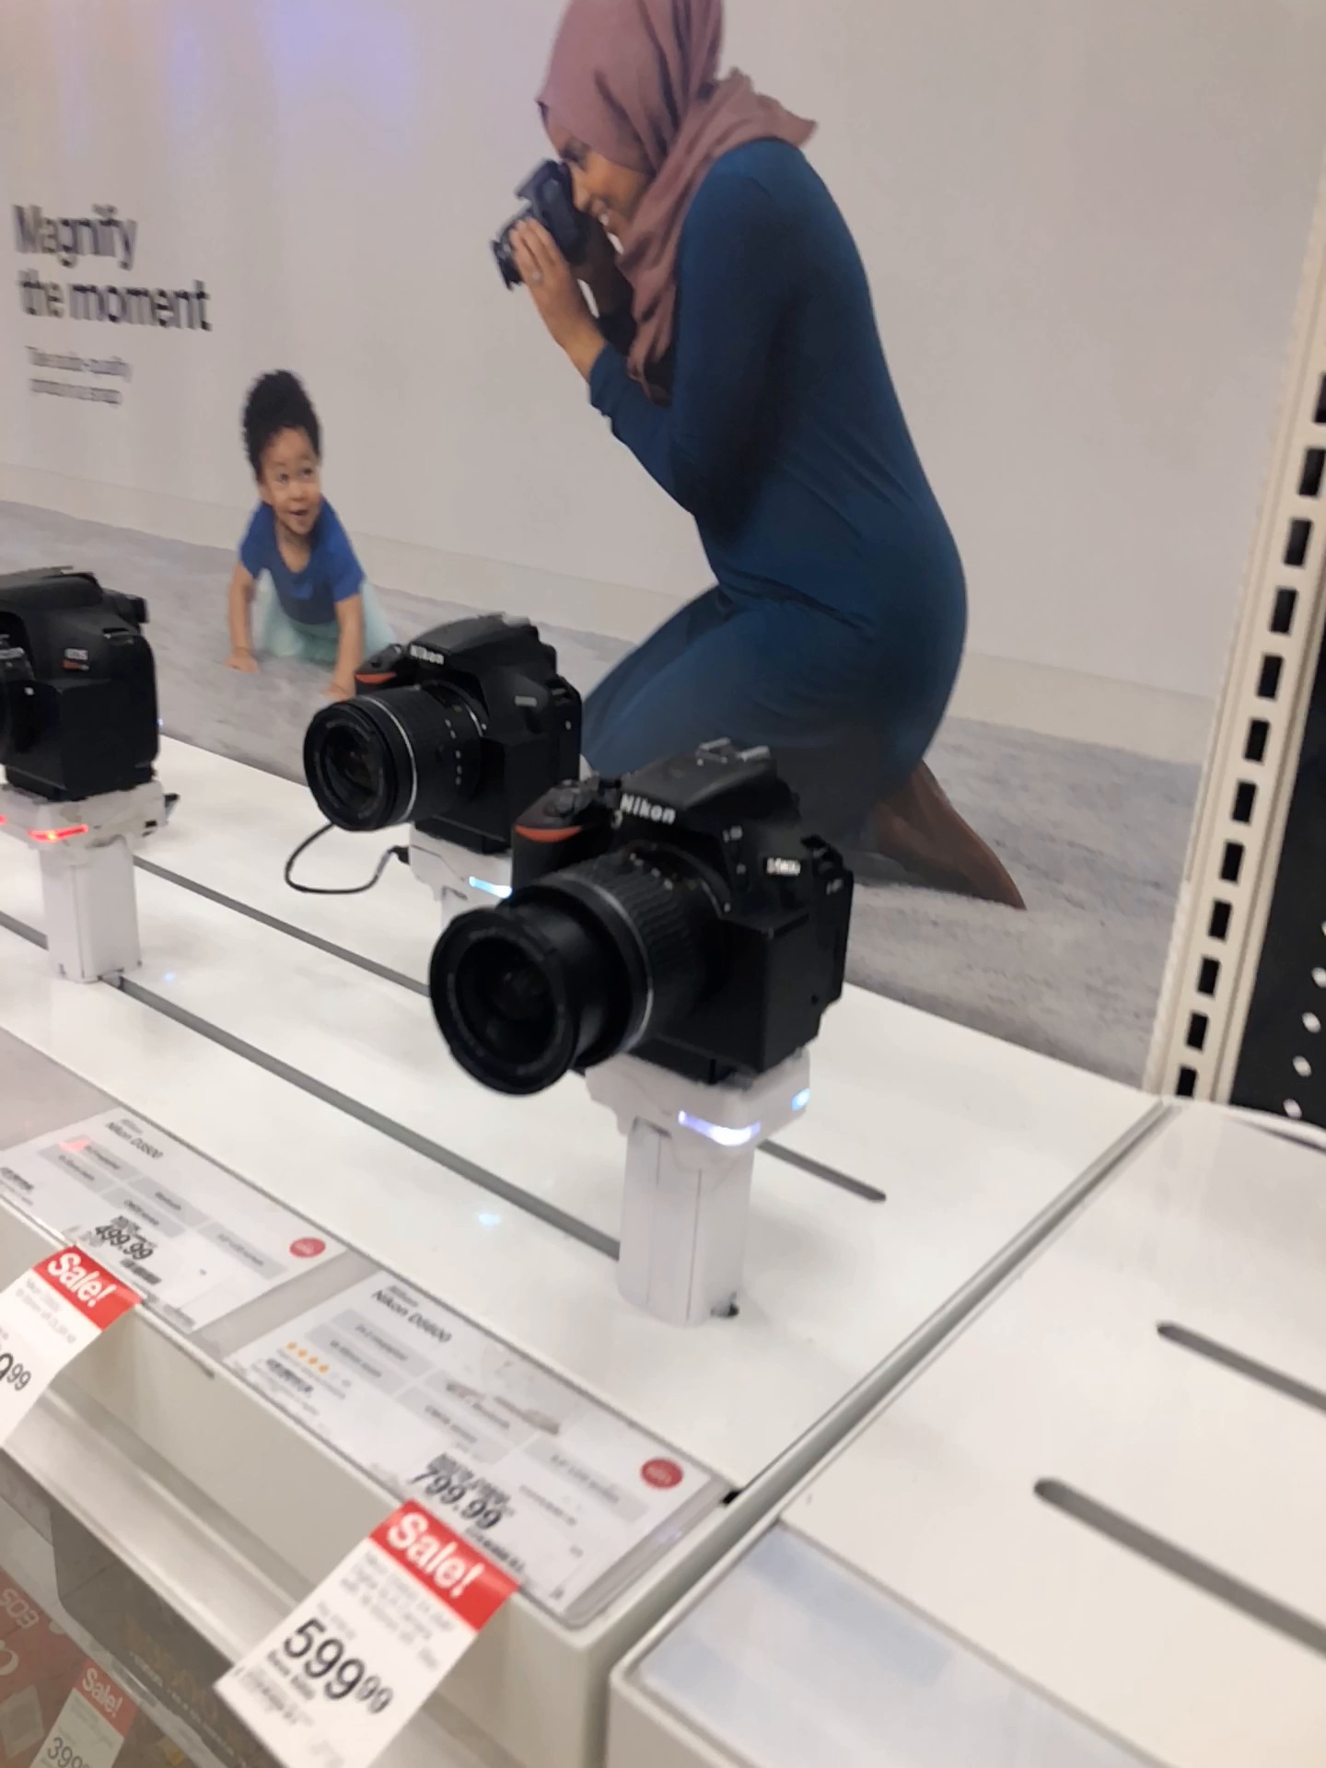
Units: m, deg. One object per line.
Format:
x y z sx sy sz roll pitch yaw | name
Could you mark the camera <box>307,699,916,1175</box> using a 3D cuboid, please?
-0.014 0.005 0.514 0.130 0.090 0.171 18 26 34 | camera
